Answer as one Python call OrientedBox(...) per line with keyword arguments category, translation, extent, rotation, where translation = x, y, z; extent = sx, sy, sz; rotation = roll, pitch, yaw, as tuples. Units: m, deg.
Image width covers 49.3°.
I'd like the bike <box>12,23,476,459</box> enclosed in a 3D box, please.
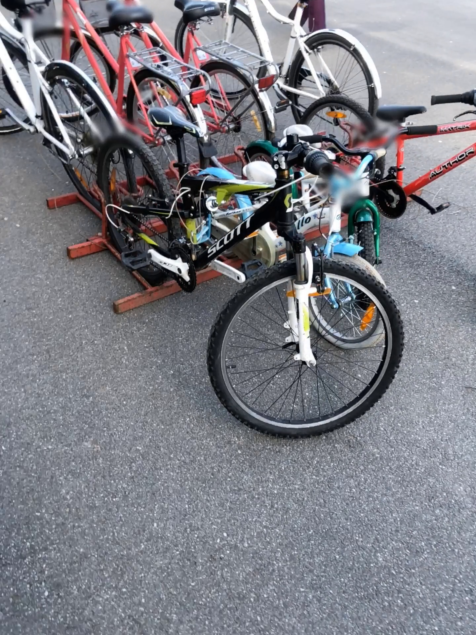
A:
OrientedBox(category="bike", translation=(-0.049, -0.338, 1.732), extent=(1.375, 0.901, 0.530), rotation=(33, 44, 29))
